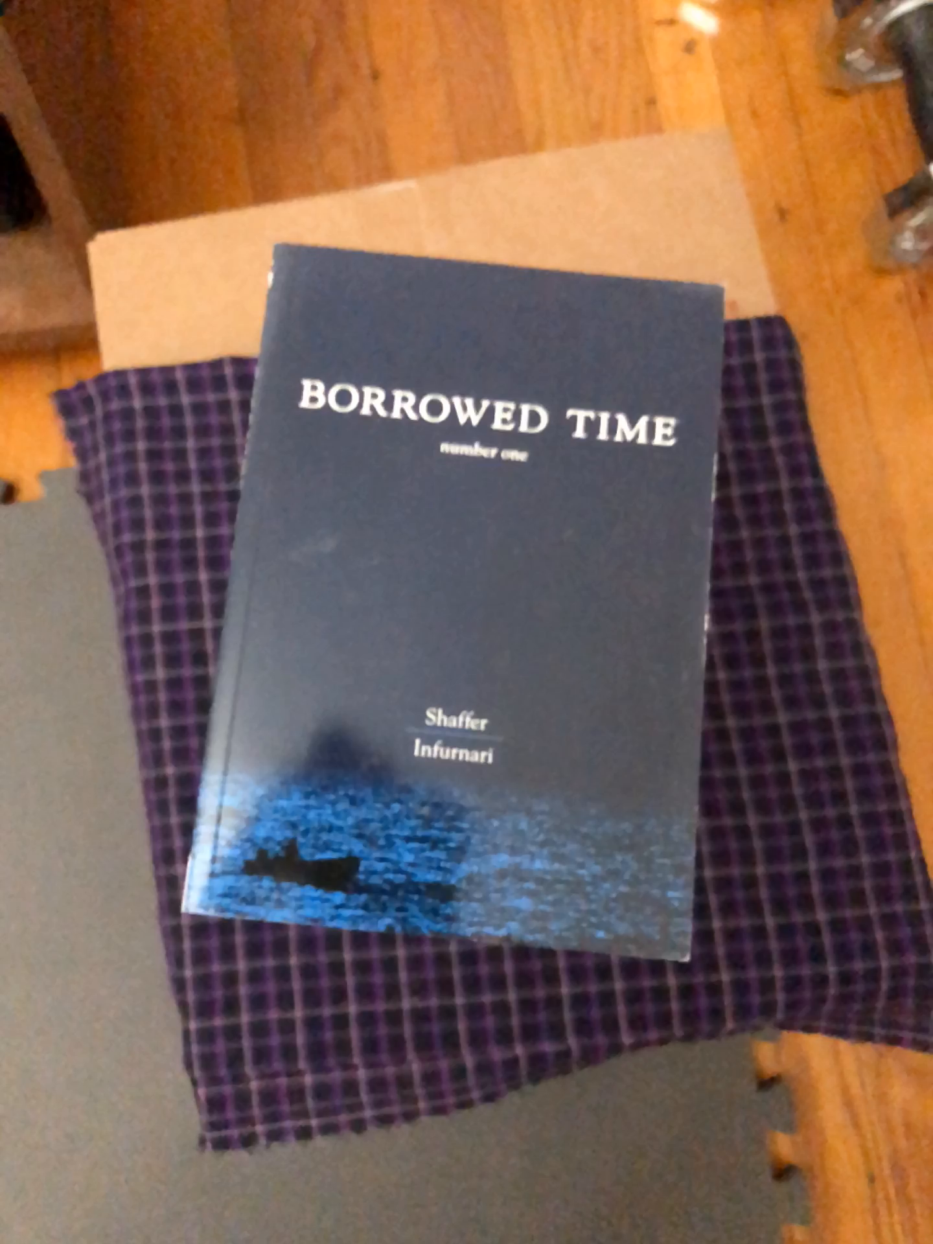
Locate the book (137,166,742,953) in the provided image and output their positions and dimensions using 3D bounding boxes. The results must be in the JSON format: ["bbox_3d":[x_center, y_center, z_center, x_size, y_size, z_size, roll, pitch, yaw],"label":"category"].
[{"bbox_3d":[-0.001,-0.027,0.316,0.160,0.010,0.230,5,77,-1],"label":"book"}]
